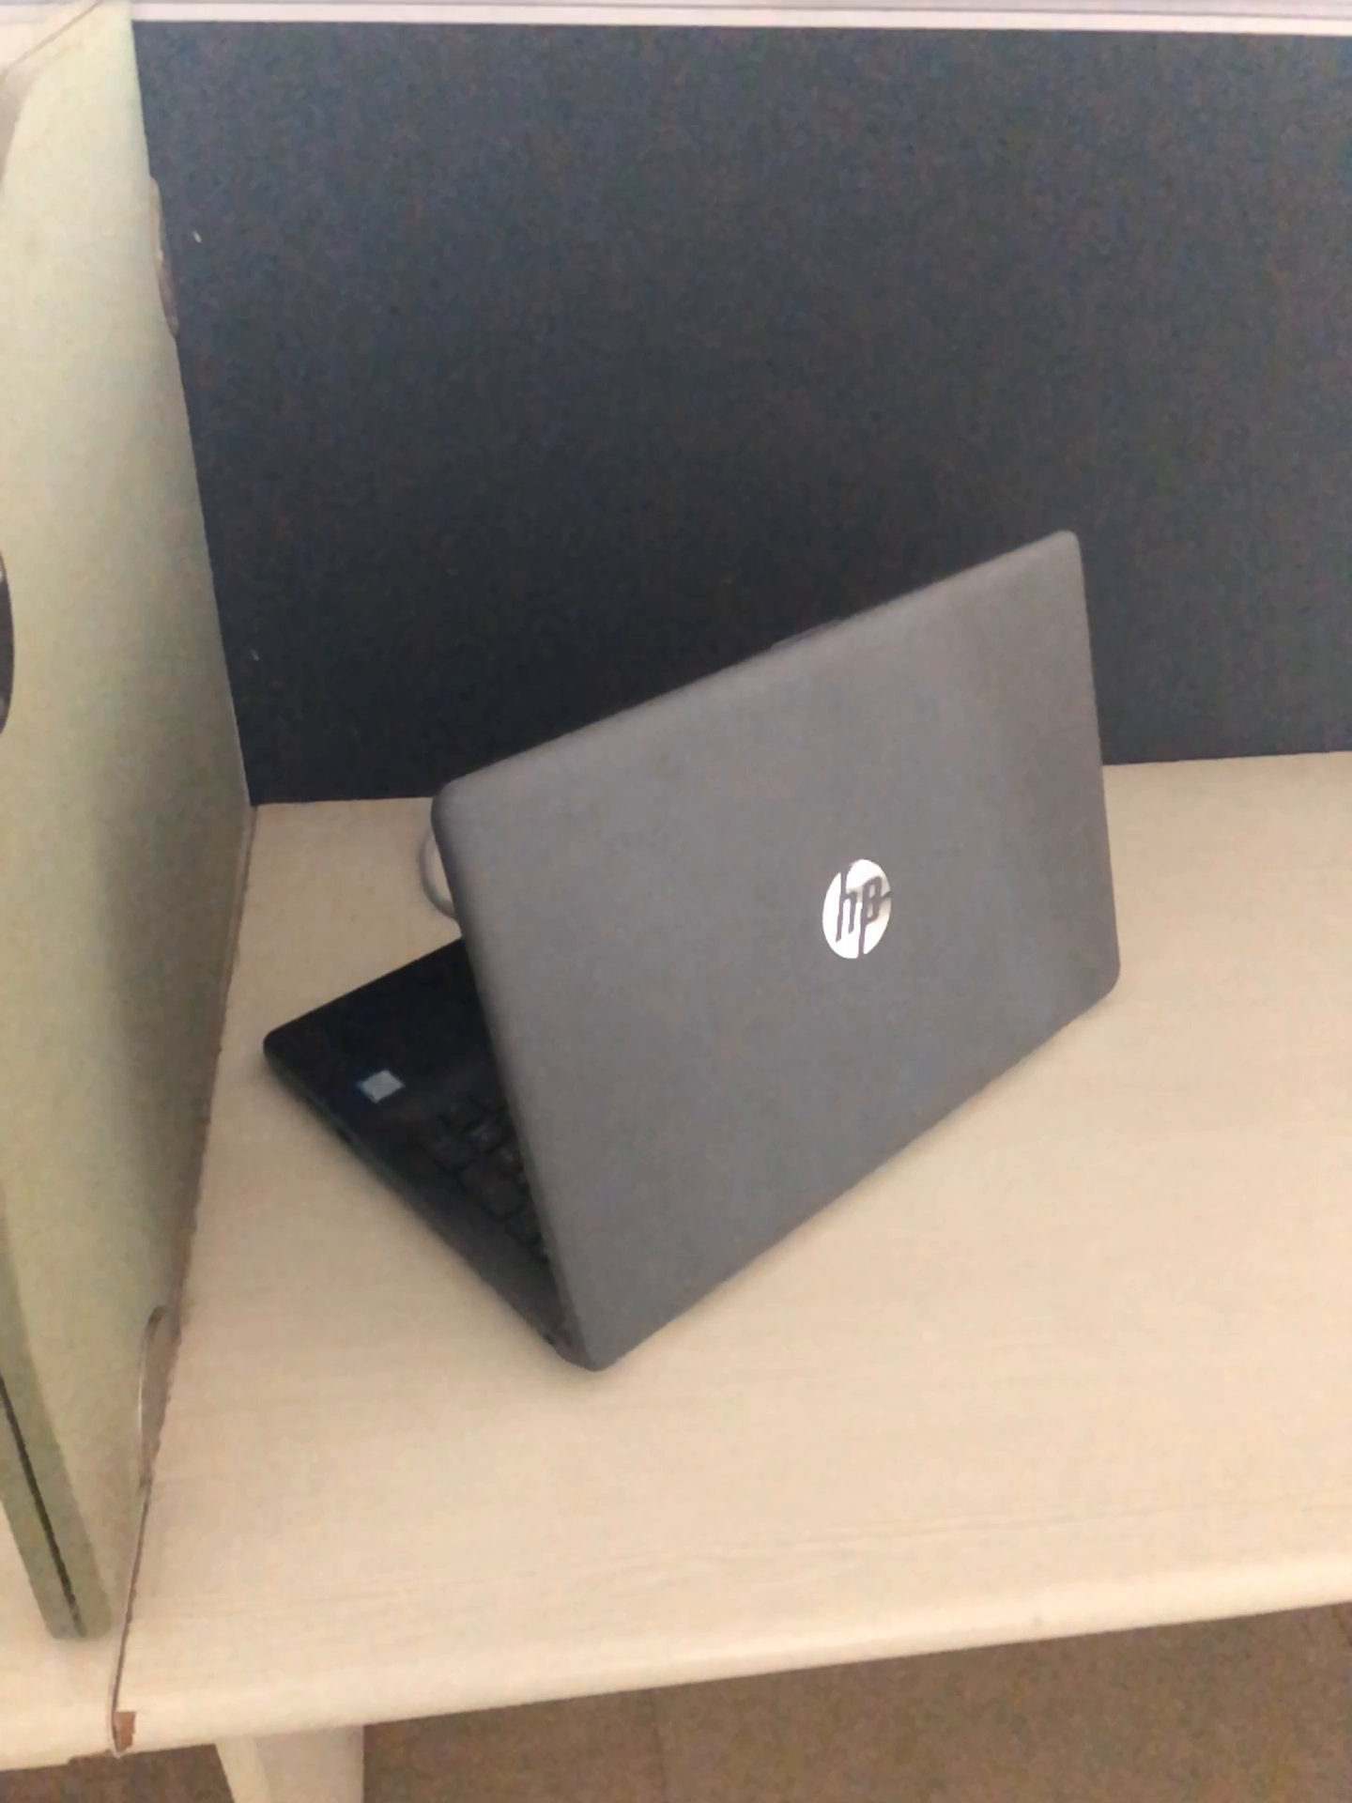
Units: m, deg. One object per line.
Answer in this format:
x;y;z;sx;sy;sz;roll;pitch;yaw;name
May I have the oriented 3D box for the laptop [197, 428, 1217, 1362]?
0.021;-0.035;0.683;0.361;0.215;0.239;-28;46;-33;laptop
